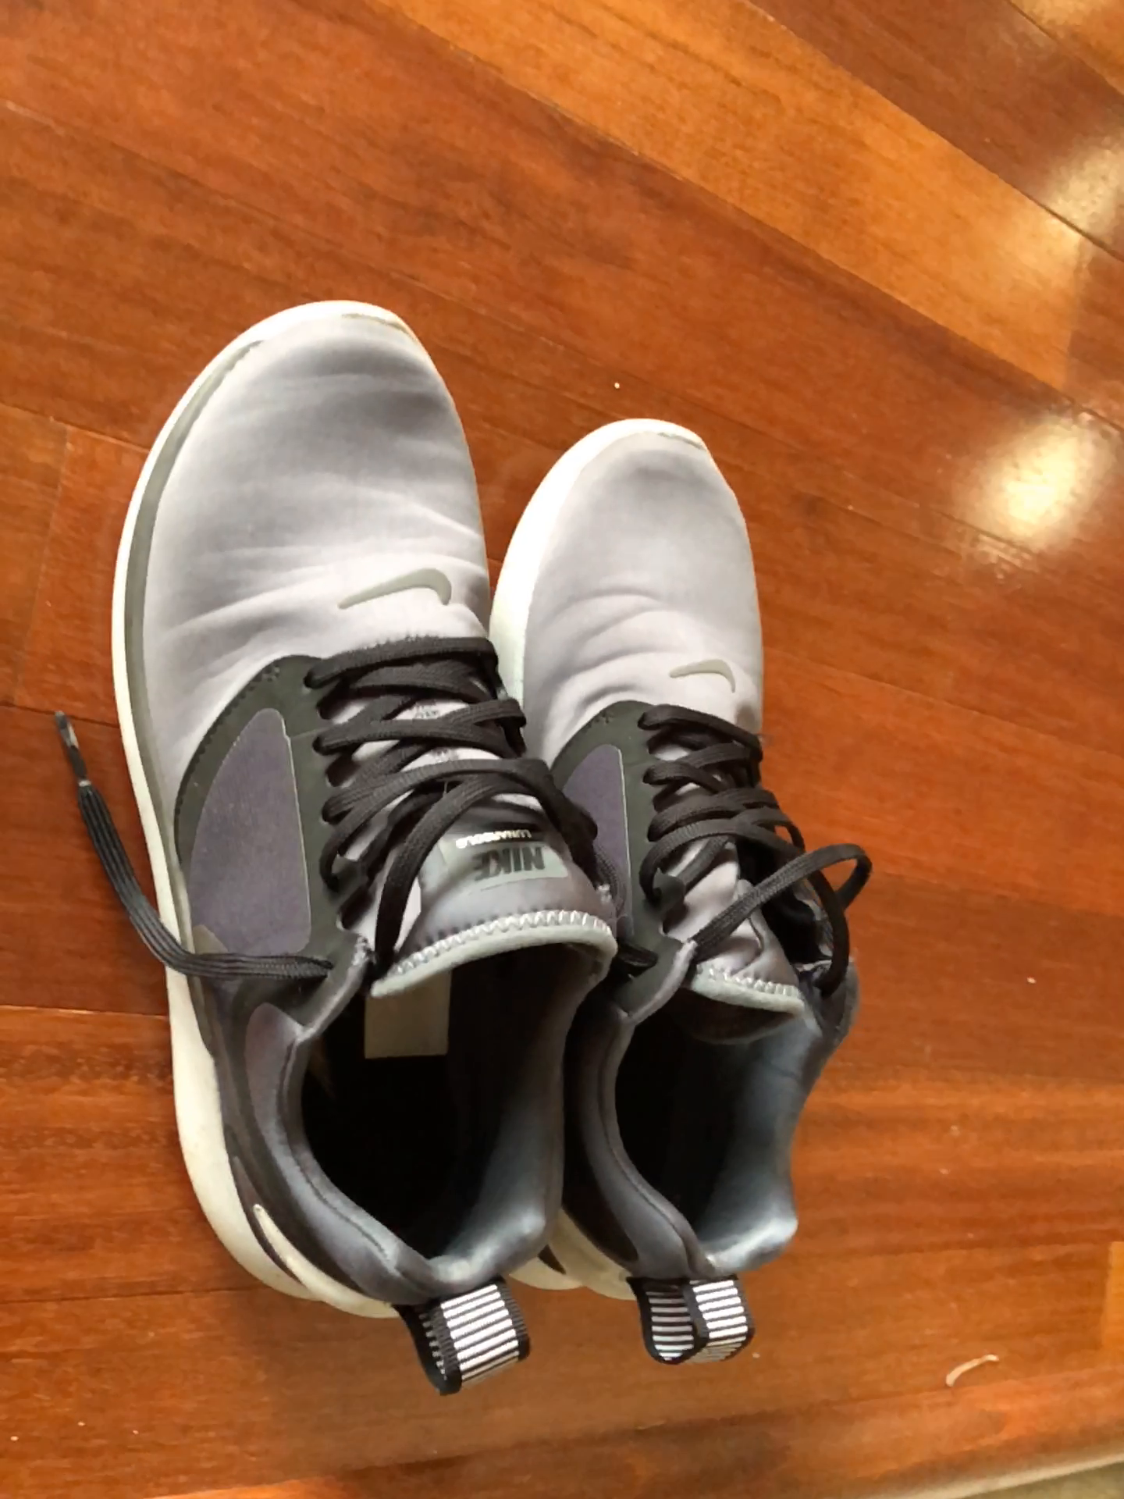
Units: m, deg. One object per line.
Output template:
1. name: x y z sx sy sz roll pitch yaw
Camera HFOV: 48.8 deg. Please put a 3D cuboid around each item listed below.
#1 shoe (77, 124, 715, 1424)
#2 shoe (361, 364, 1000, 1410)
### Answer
1. shoe: -0.043 0.005 0.301 0.110 0.100 0.240 3 90 -33
2. shoe: 0.033 0.036 0.355 0.110 0.100 0.240 12 85 -33
